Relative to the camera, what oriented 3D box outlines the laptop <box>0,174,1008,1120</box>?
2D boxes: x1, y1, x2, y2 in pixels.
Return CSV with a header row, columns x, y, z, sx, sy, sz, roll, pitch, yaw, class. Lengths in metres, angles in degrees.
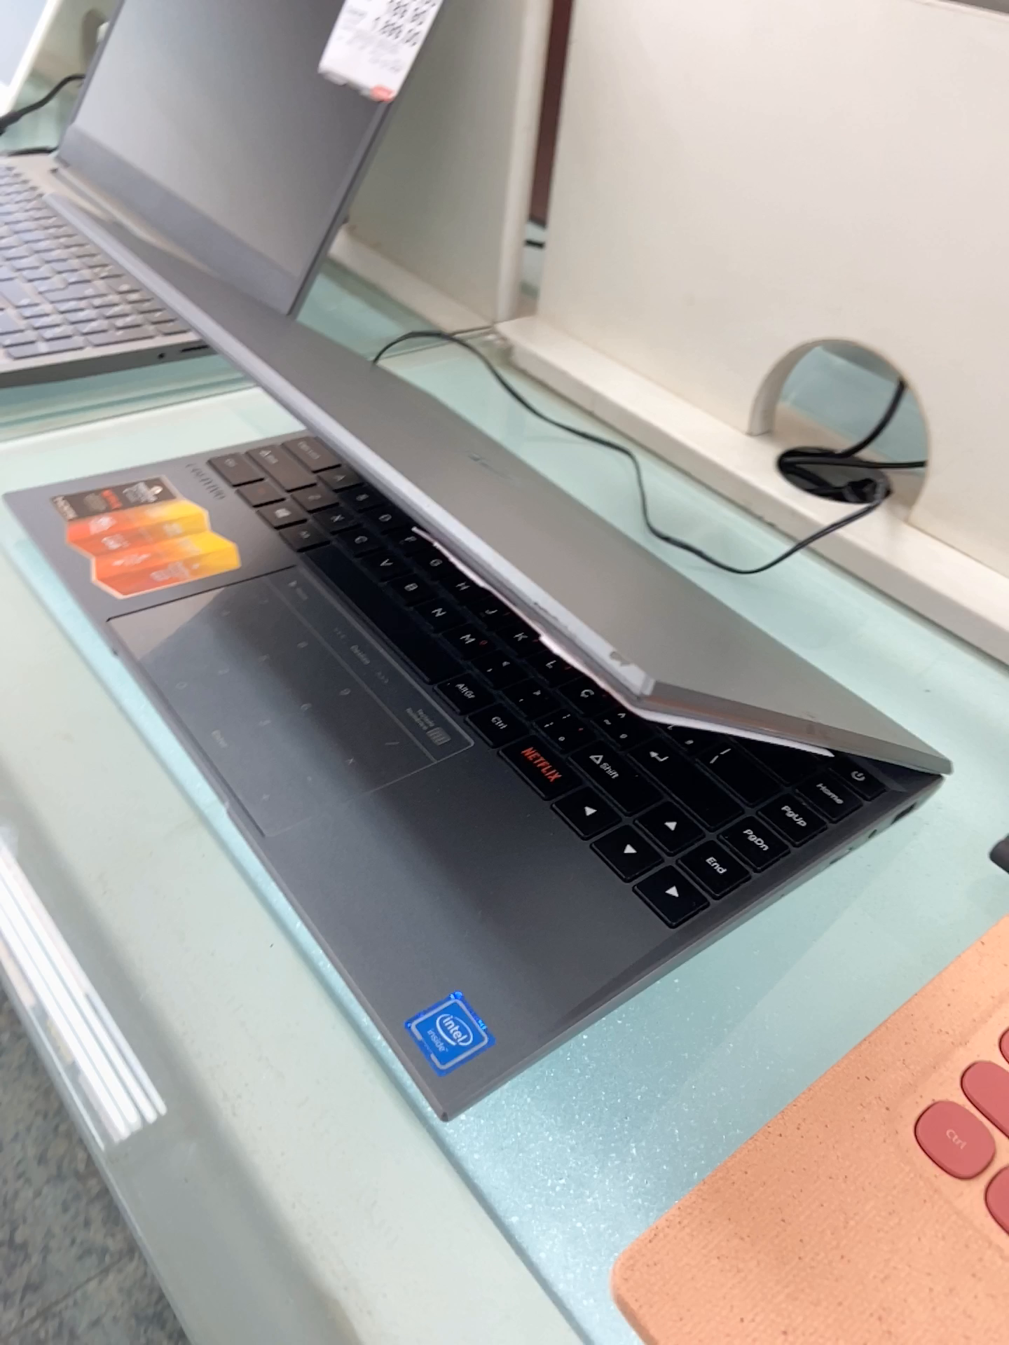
x,y,z,sx,sy,sz,roll,pitch,yaw,class
-0.028,-0.062,0.369,0.211,0.113,0.334,-22,47,-31,laptop
